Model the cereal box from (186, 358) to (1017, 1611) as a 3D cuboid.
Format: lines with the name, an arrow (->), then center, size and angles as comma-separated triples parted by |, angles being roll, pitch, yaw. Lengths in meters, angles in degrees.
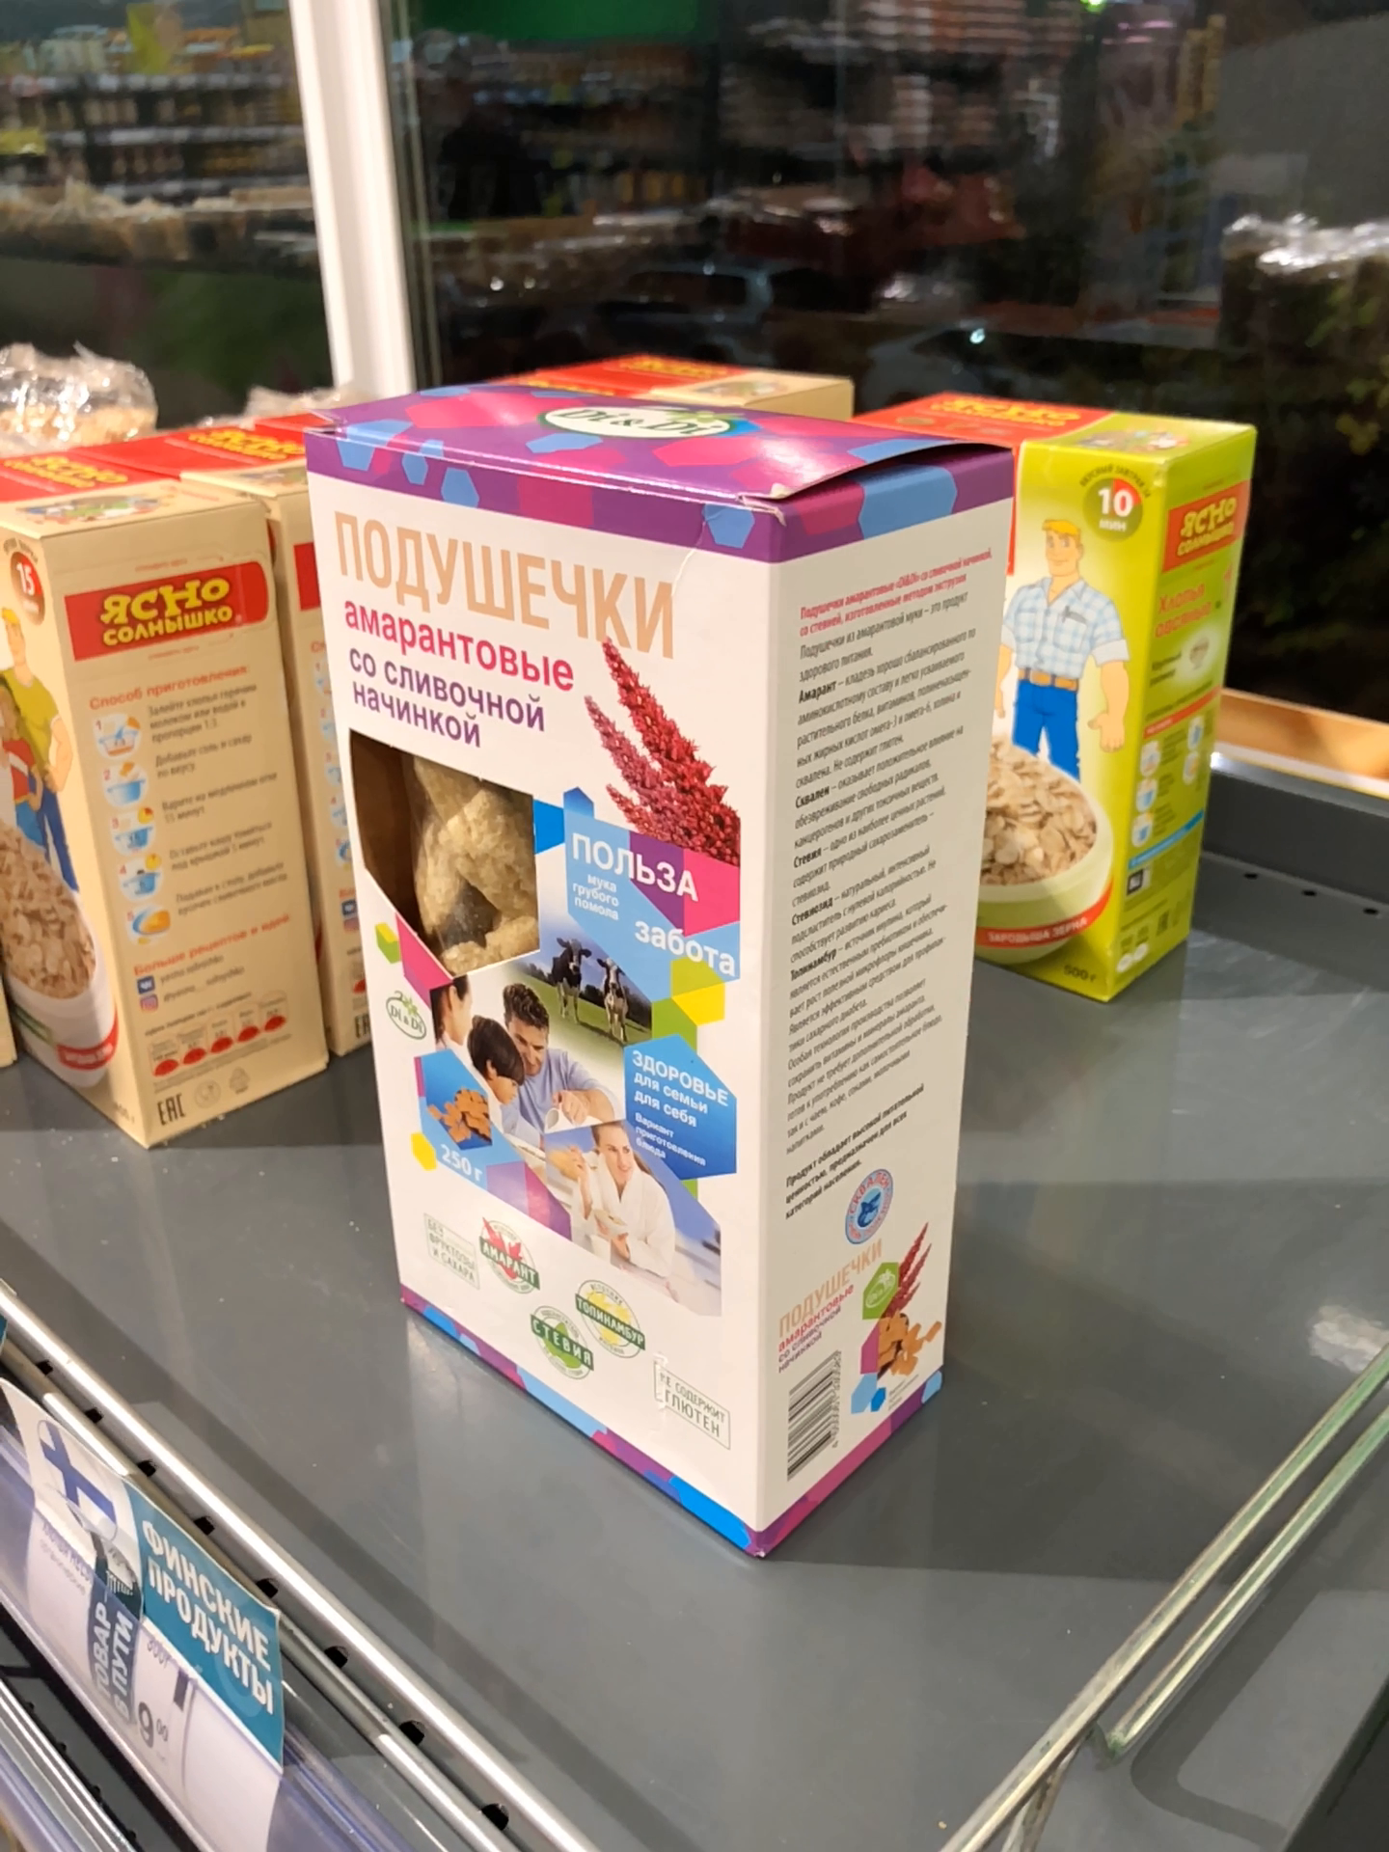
cereal box -> -0.020, 0.006, 0.338 | 0.140, 0.229, 0.080 | 22, 35, 38
